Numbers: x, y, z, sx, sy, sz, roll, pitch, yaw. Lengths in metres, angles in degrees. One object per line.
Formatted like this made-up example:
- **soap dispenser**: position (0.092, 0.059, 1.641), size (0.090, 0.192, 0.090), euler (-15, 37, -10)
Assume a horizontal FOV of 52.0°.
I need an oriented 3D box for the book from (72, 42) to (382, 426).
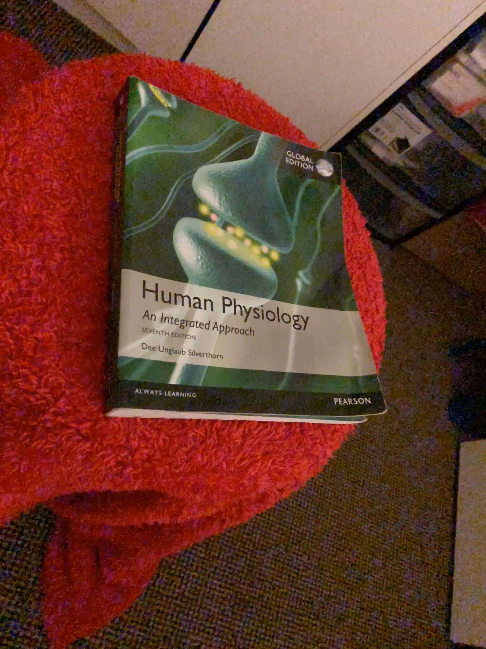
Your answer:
- **book**: position (-0.010, -0.067, 0.456), size (0.251, 0.070, 0.301), euler (9, 66, -31)
